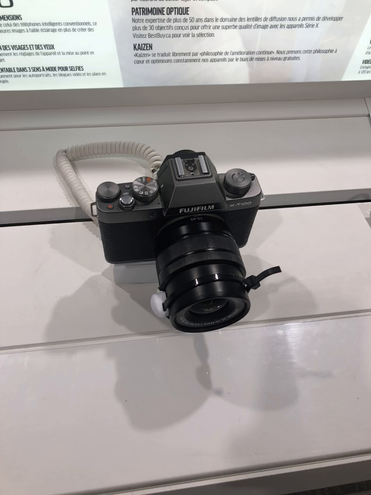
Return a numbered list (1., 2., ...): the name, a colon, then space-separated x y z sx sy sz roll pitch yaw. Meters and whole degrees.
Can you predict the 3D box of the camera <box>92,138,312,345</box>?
1. camera: 0.003 -0.005 0.311 0.130 0.099 0.108 -5 52 -6
